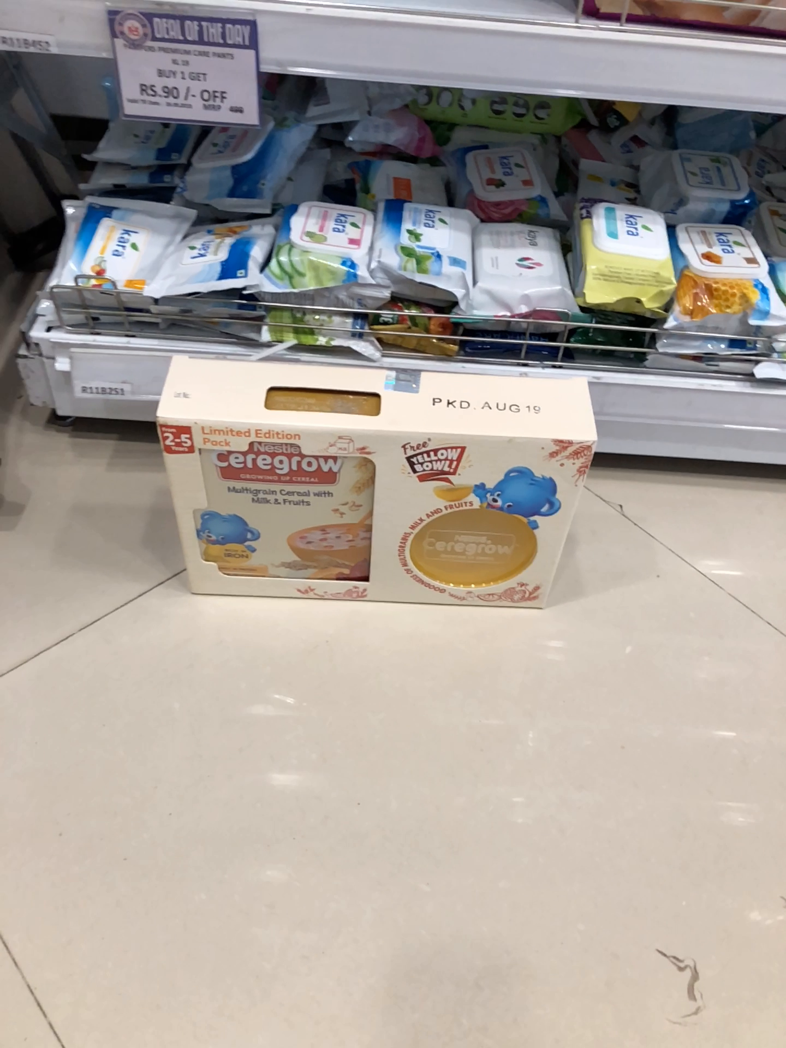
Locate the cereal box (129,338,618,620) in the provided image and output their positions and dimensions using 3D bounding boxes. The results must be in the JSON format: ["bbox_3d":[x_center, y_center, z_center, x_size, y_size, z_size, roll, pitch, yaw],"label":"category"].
[{"bbox_3d":[-0.016,-0.024,0.650,0.310,0.209,0.070,3,49,-1],"label":"cereal box"}]
